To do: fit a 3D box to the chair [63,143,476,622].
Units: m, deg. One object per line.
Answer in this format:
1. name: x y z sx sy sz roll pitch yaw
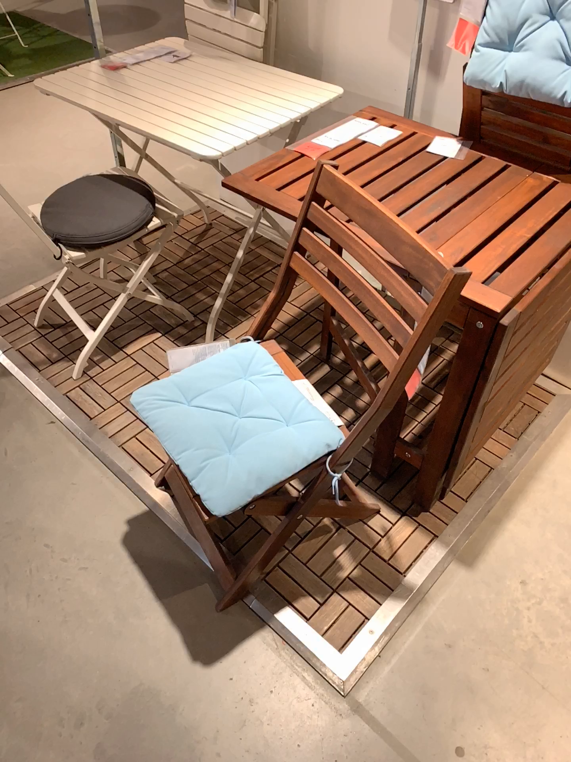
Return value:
1. chair: -0.049 0.022 1.235 0.520 0.777 0.471 -21 50 -20
